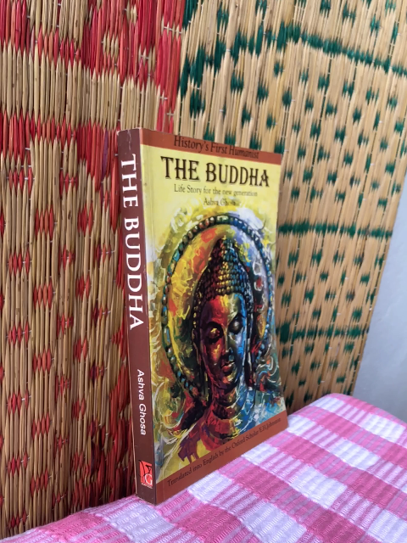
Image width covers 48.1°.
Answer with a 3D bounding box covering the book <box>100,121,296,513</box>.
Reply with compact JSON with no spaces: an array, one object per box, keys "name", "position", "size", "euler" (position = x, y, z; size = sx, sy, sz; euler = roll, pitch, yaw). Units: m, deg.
[{"name":"book","position":[0.007,0.020,0.302],"size":[0.030,0.207,0.146],"euler":[1,5,43]}]
